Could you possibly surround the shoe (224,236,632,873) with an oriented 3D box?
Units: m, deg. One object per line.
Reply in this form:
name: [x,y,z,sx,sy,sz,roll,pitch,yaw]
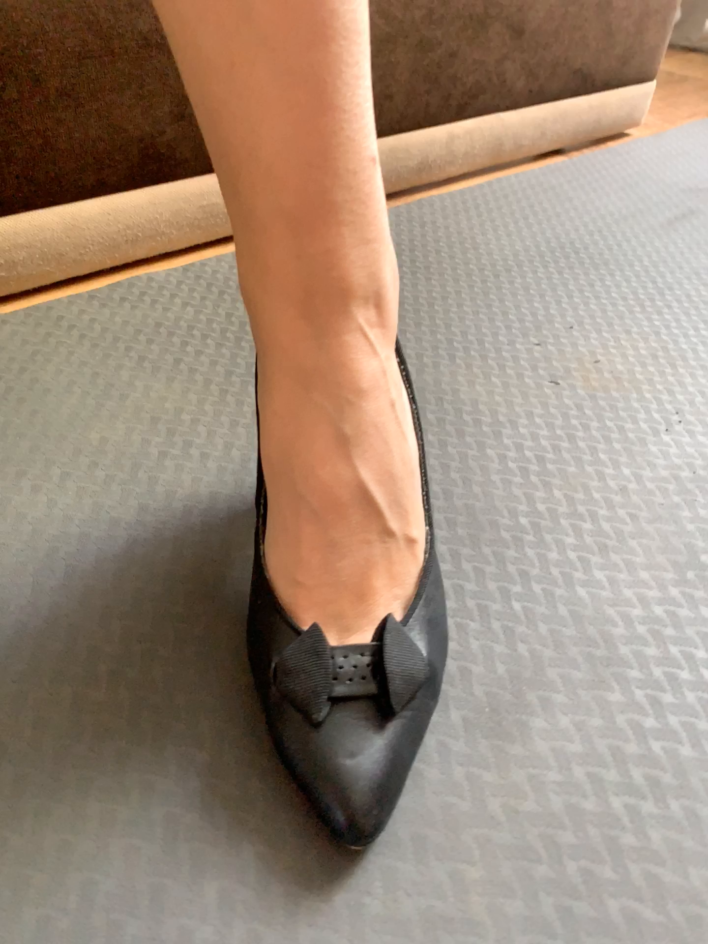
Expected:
shoe: [0.001,0.005,0.277,0.090,0.099,0.231,-2,40,-7]
